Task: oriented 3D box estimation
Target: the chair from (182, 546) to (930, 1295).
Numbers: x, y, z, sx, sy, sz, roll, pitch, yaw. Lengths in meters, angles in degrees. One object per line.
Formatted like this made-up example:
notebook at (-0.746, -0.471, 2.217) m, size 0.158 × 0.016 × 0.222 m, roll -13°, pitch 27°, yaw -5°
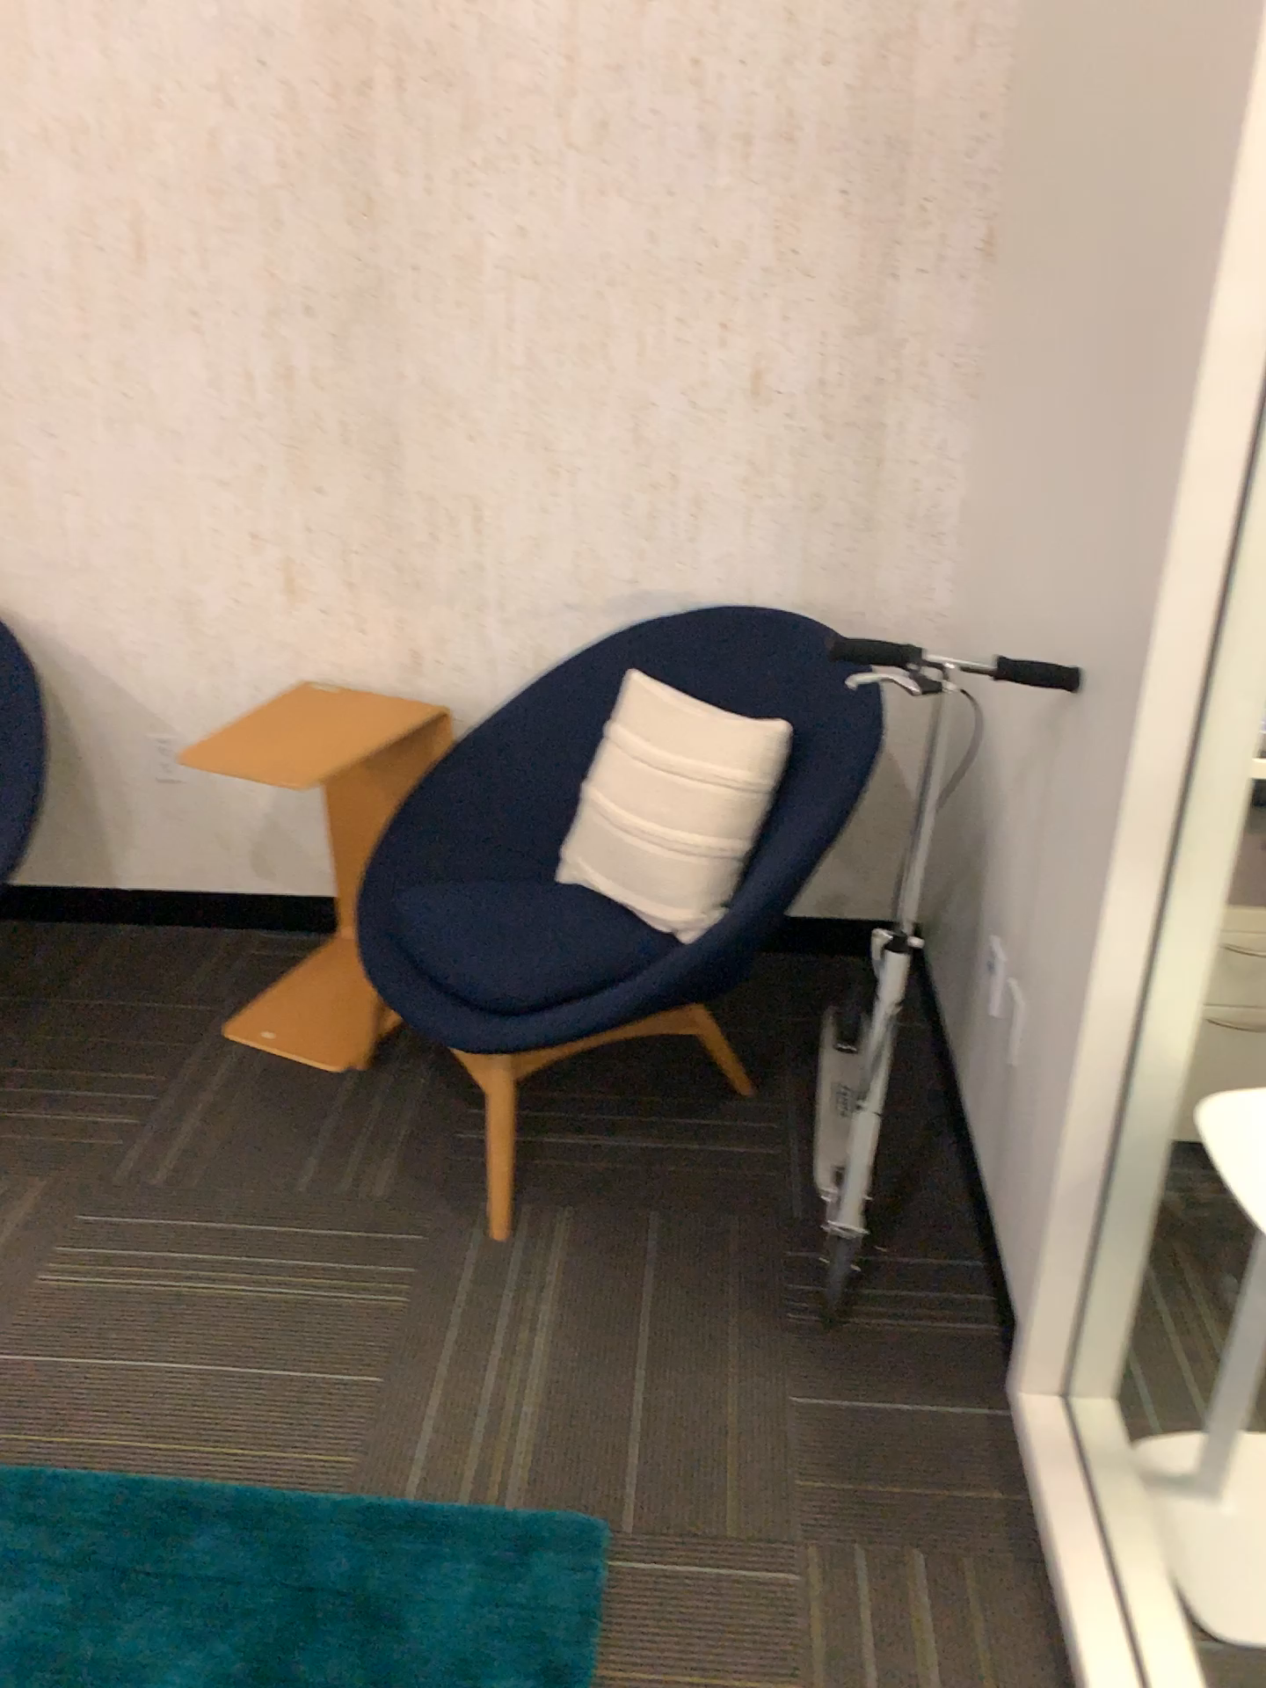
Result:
chair at (-0.156, 0.023, 2.277) m, size 0.881 × 0.816 × 0.894 m, roll -17°, pitch 30°, yaw -31°
